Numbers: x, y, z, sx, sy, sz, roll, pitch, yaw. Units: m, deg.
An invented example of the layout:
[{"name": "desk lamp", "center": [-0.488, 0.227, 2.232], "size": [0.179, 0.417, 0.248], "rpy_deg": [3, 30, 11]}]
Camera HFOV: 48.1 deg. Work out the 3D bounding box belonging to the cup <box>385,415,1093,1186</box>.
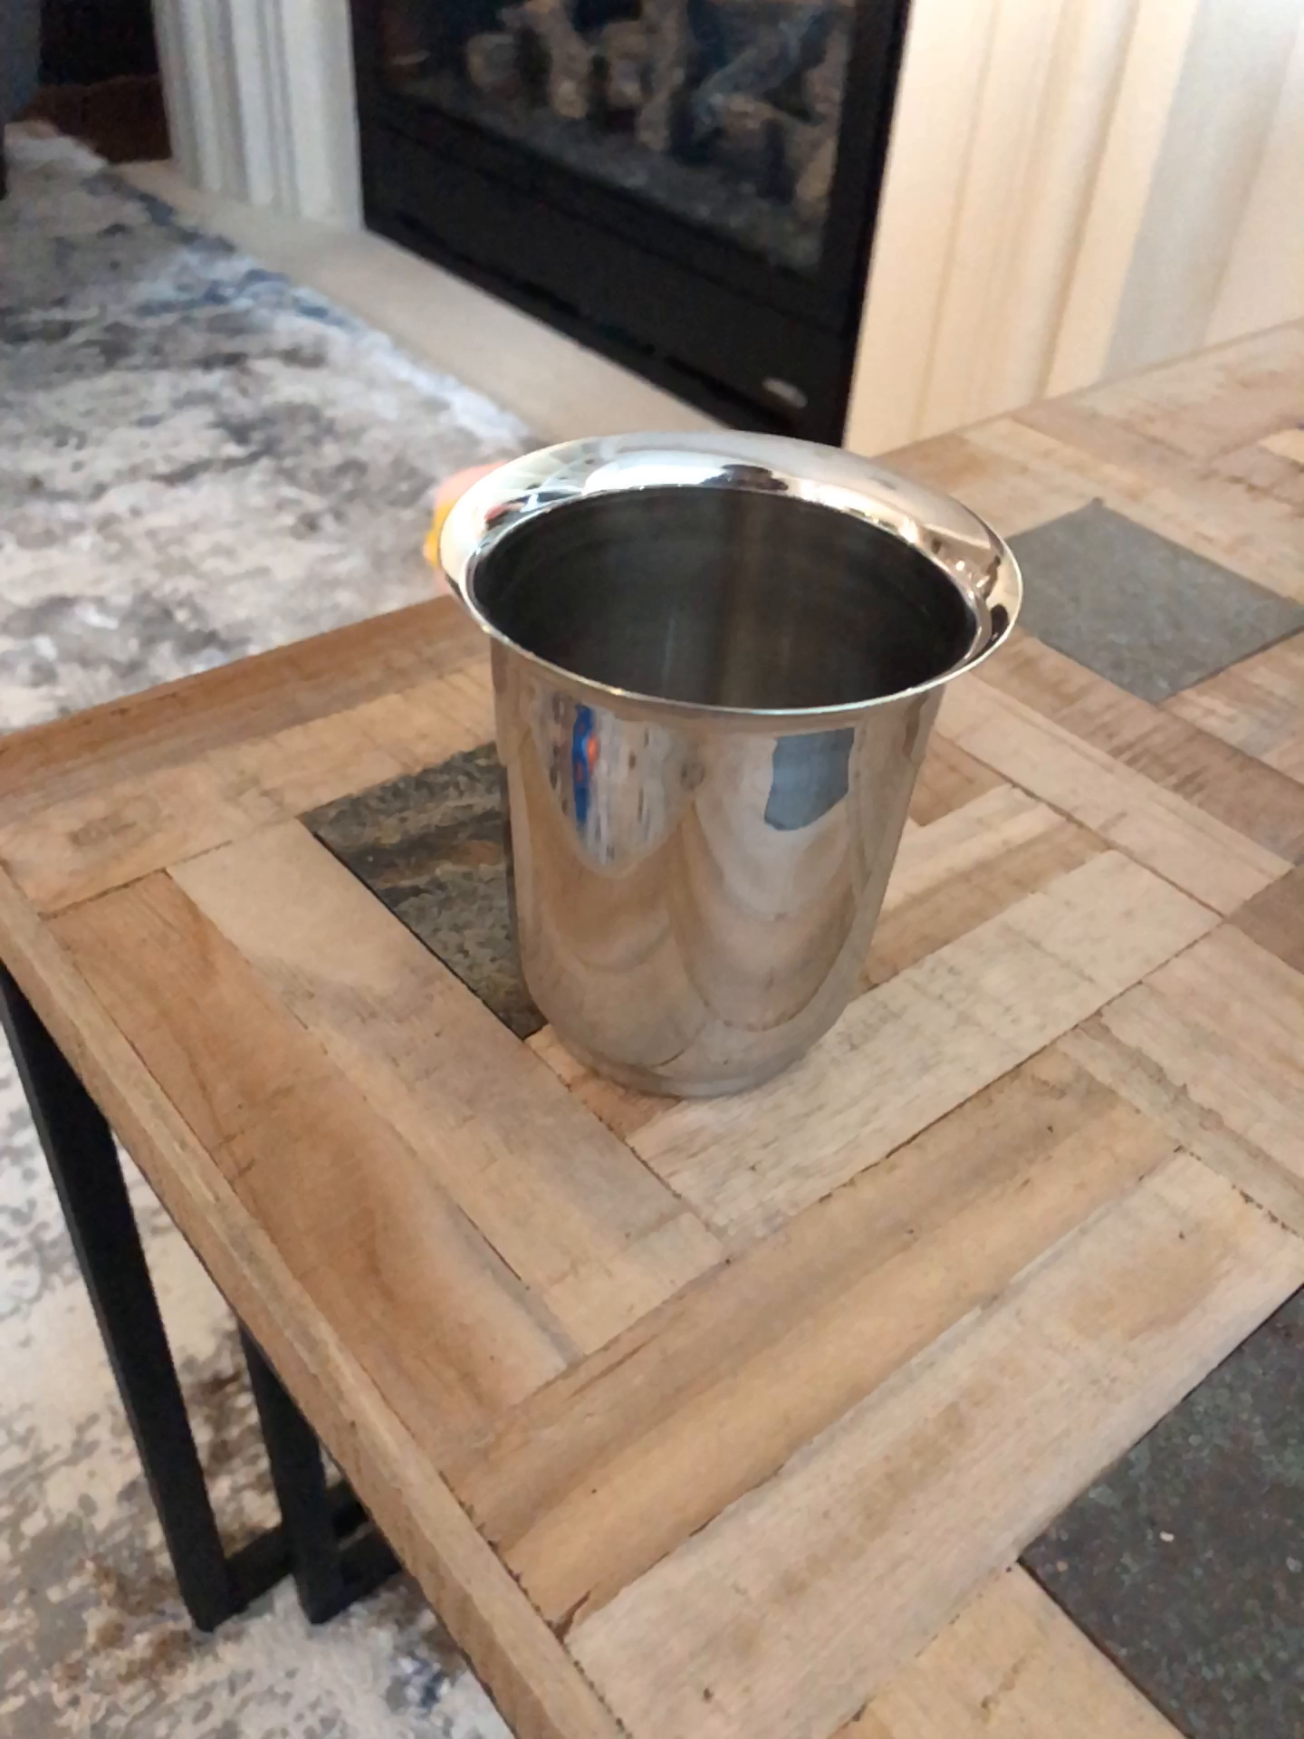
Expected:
[{"name": "cup", "center": [0.004, -0.014, 0.239], "size": [0.084, 0.088, 0.083], "rpy_deg": [3, 40, -2]}]
